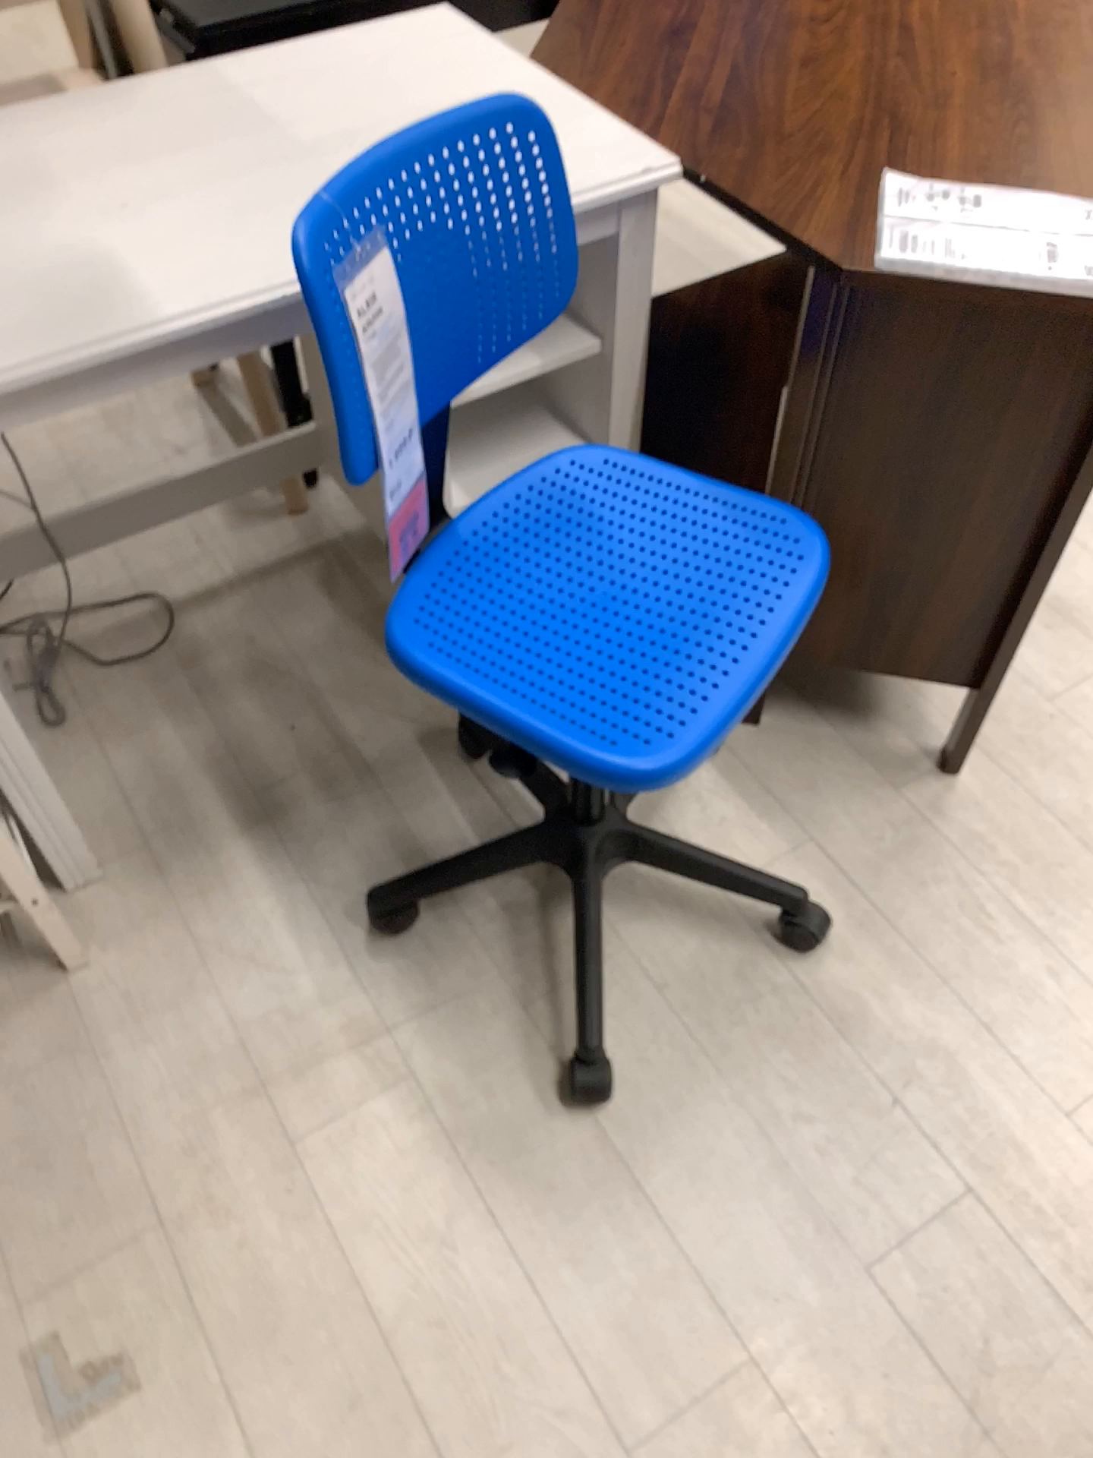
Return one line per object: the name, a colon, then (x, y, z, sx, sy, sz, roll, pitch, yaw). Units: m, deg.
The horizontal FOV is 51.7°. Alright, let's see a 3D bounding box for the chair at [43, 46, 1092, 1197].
chair: (0.065, -0.084, 1.192, 0.621, 0.856, 0.612, 28, 56, 21)
